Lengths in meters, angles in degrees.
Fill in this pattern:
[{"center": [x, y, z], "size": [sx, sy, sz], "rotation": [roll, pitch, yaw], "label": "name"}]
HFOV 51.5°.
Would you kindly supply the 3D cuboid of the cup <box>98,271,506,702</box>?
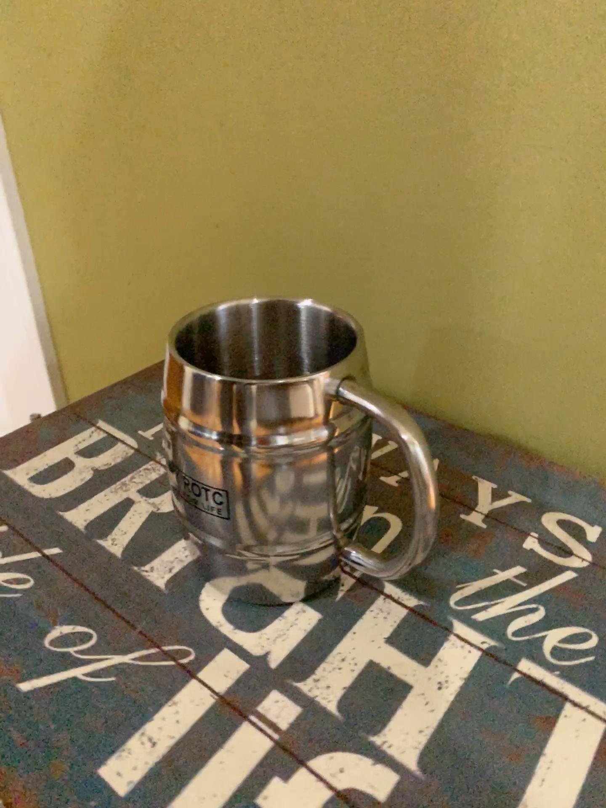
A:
[{"center": [-0.001, 0.024, 0.269], "size": [0.129, 0.113, 0.089], "rotation": [22, 38, 32], "label": "cup"}]
